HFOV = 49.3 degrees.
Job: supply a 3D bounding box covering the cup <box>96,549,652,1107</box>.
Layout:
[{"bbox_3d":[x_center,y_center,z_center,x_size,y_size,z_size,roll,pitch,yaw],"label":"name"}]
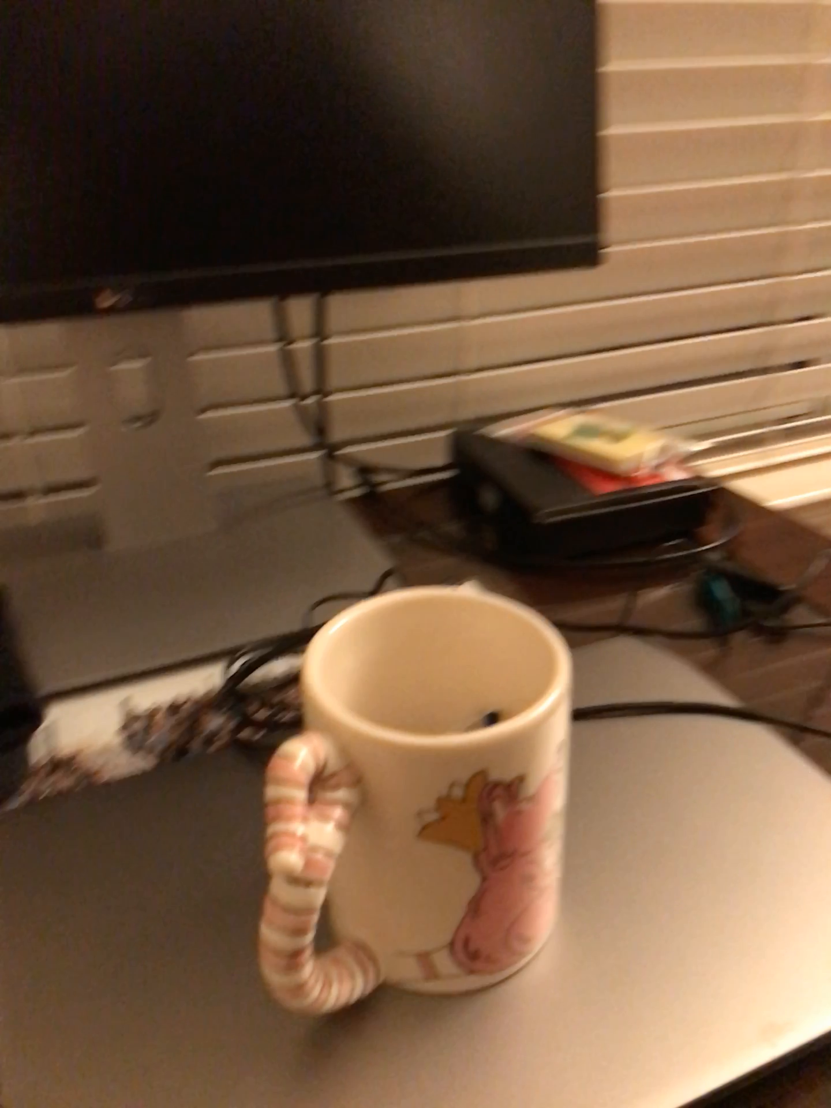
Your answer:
[{"bbox_3d":[-0.005,0.077,0.266,0.131,0.099,0.080,-25,34,-38],"label":"cup"}]
